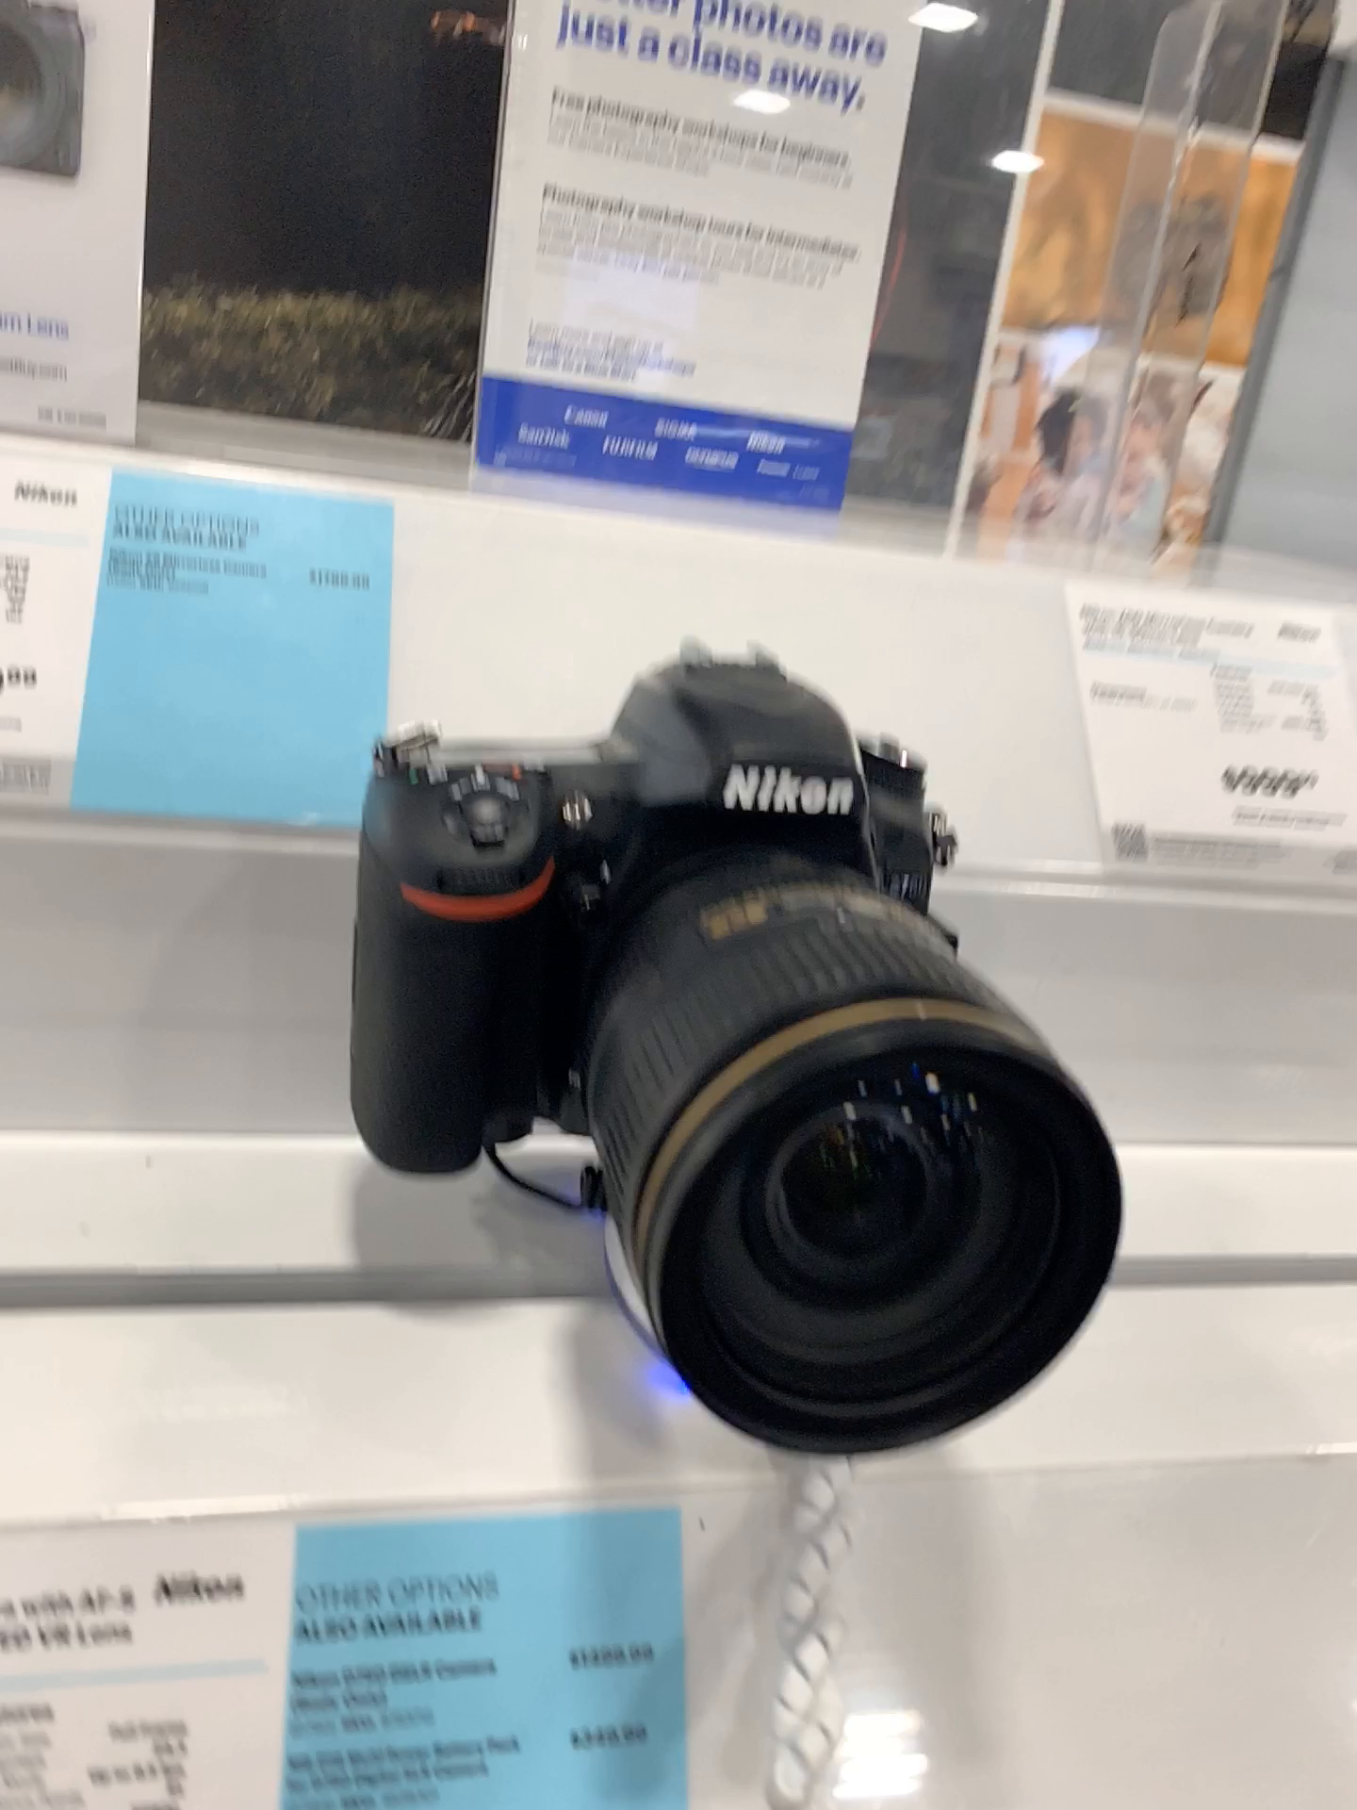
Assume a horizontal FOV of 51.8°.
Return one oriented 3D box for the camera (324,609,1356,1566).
[{"bbox_3d":[0.006,0.015,0.293,0.140,0.111,0.181,1,21,-18],"label":"camera"}]
